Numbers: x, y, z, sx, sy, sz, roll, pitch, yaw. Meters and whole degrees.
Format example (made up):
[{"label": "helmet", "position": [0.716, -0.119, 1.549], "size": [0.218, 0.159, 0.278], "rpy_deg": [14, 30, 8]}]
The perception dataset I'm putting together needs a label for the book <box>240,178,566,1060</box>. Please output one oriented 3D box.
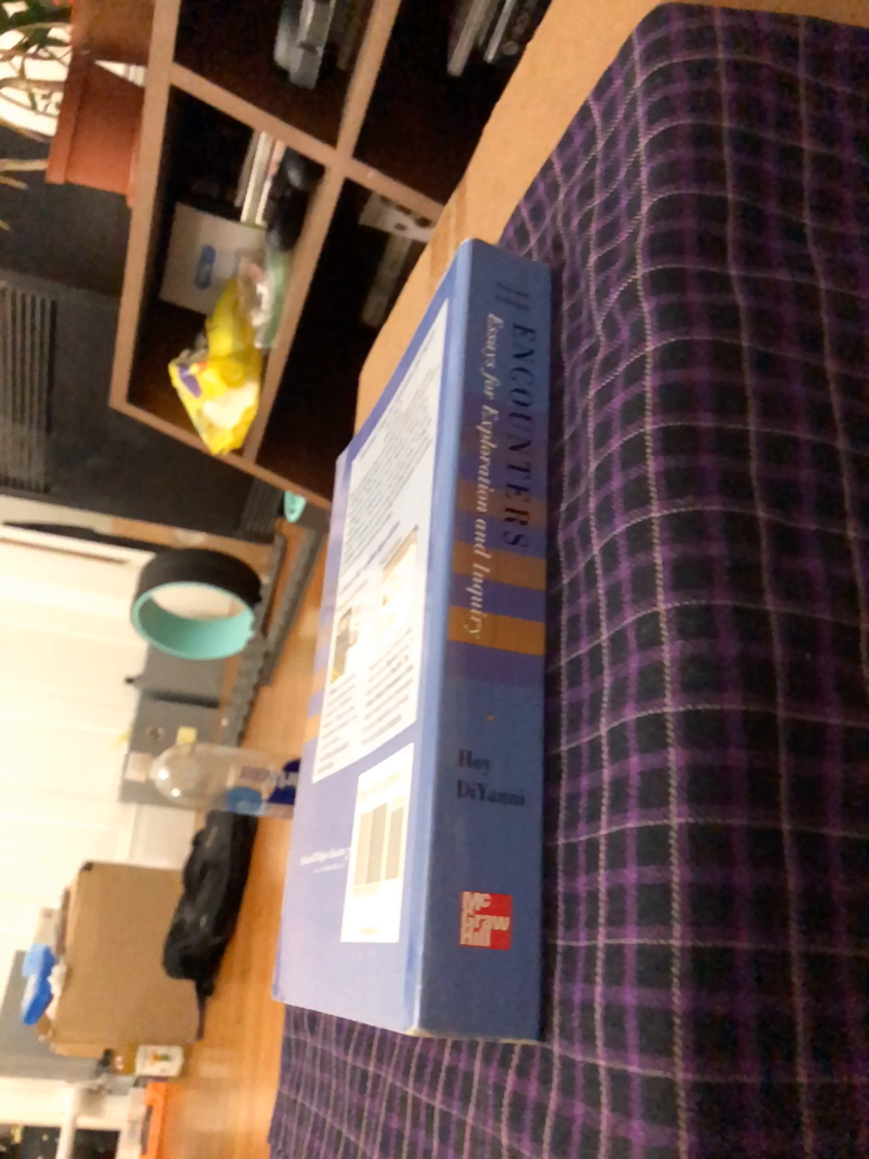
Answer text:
[{"label": "book", "position": [-0.015, 0.023, 0.332], "size": [0.180, 0.040, 0.240], "rpy_deg": [133, 145, -61]}]
